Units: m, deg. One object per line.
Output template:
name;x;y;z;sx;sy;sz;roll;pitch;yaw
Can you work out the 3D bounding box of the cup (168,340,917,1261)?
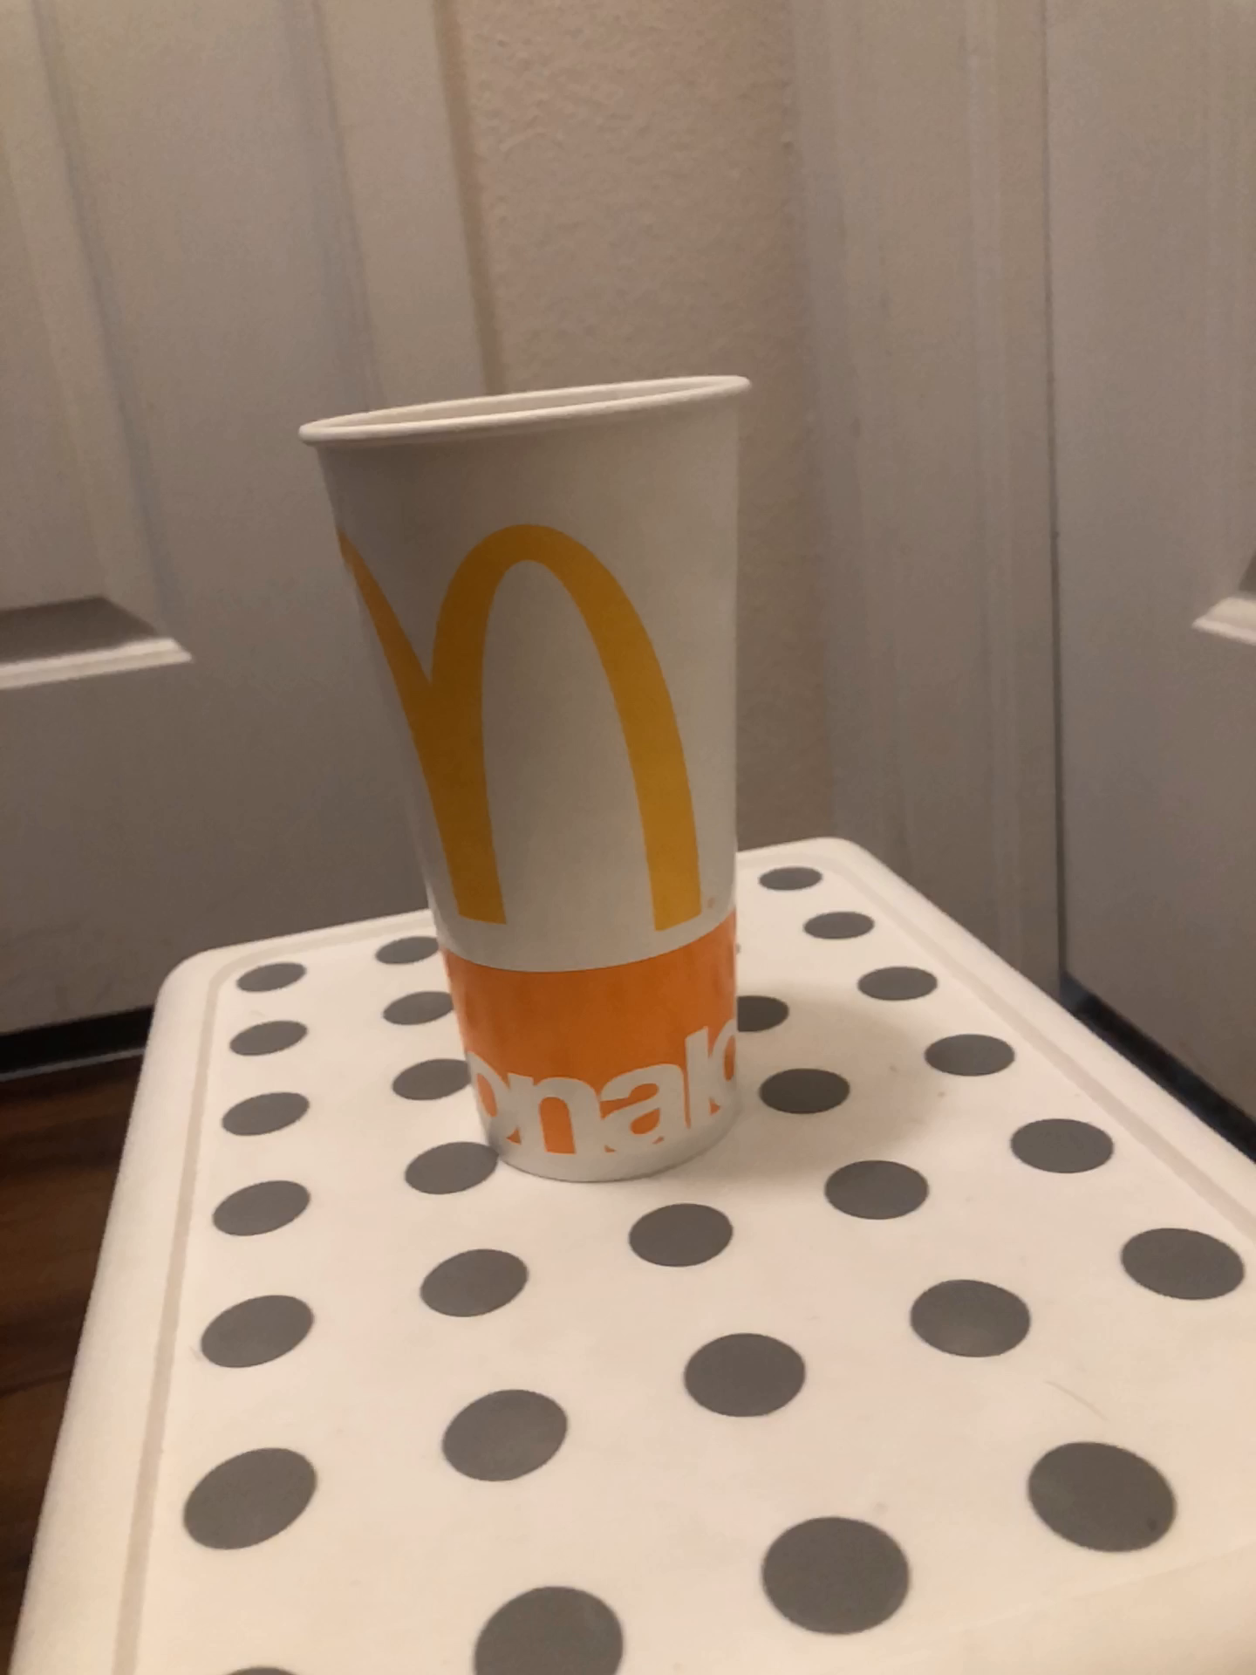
cup;-0.011;-0.017;0.302;0.100;0.155;0.099;-7;19;2
